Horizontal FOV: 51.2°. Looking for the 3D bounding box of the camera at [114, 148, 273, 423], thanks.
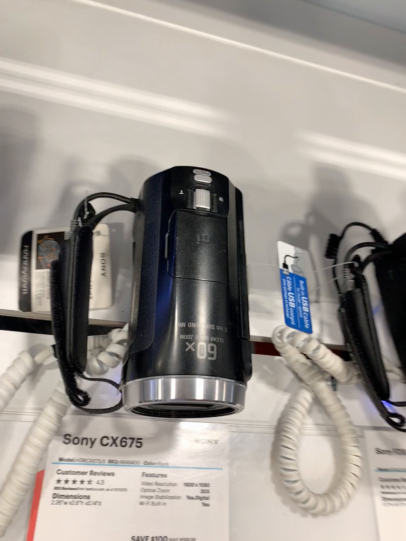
[{"bbox_3d":[-0.007,0.010,0.204,0.053,0.060,0.113,8,63,-15],"label":"camera"}]
